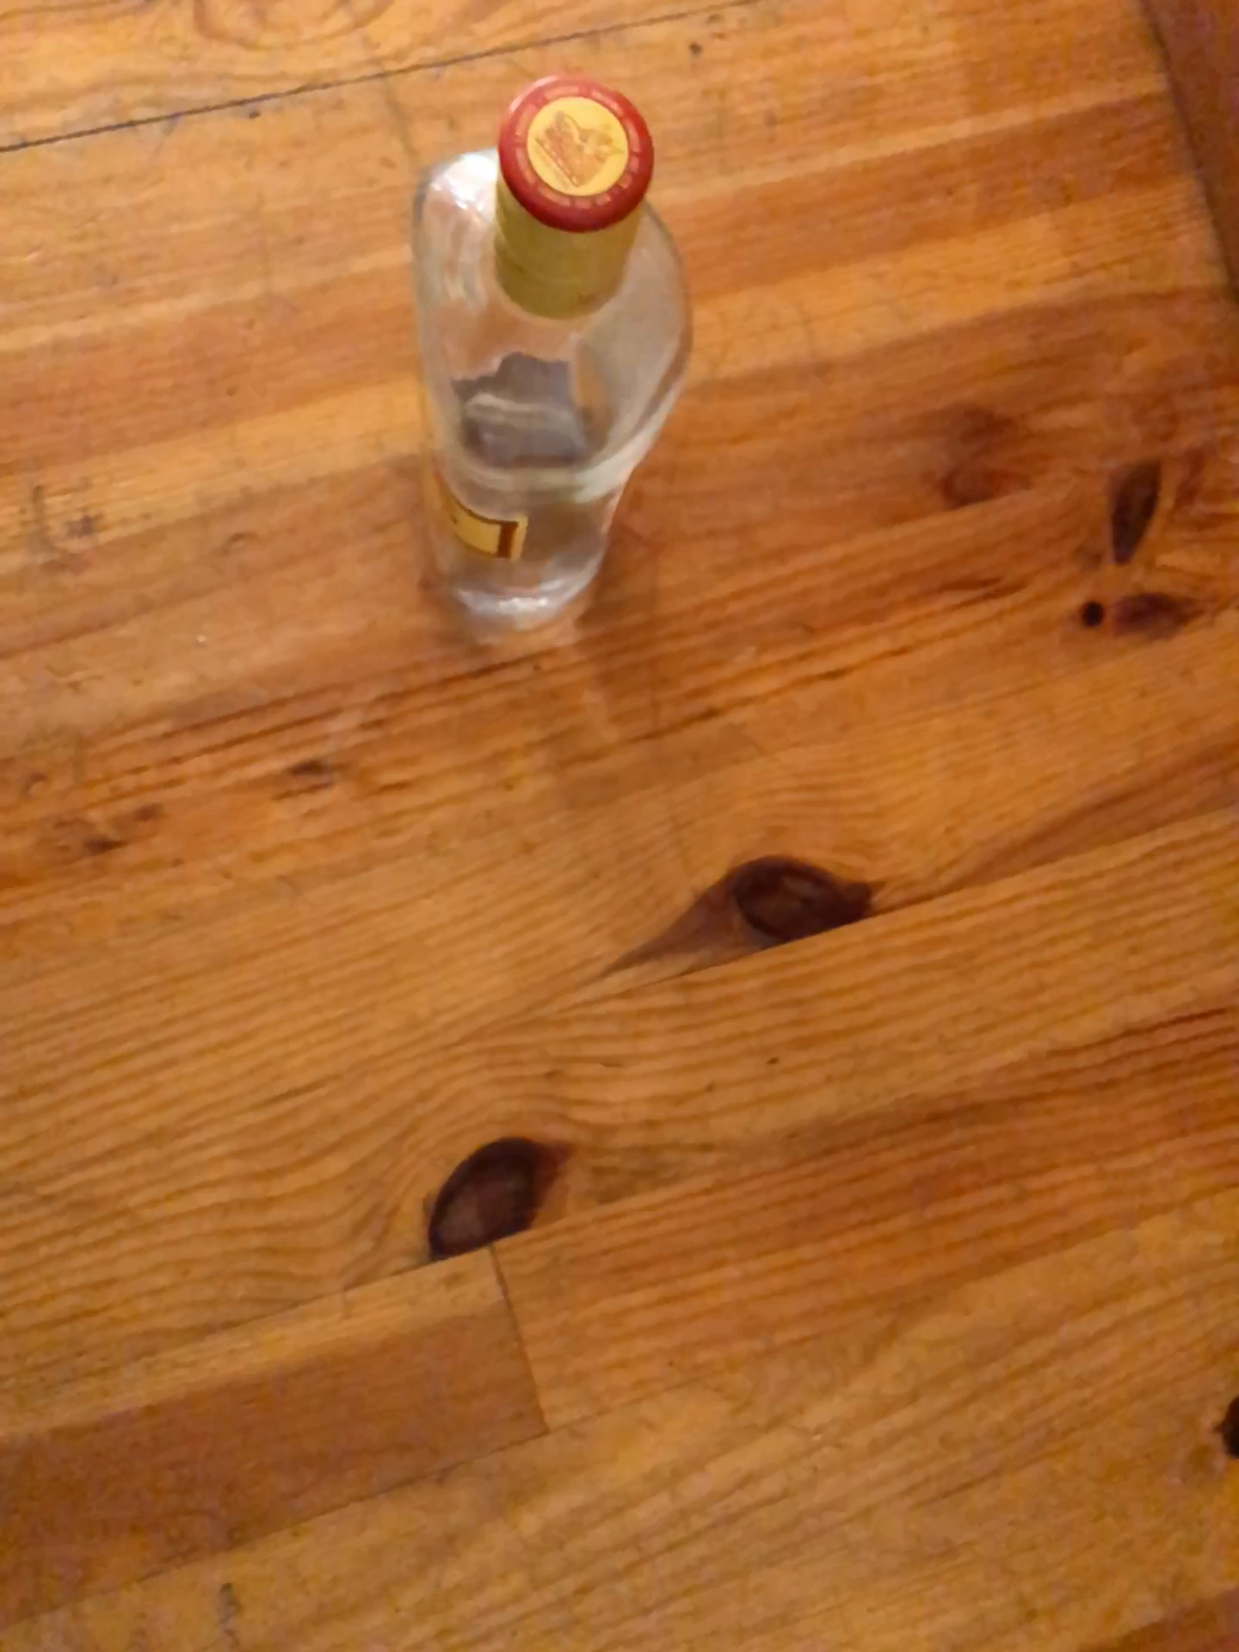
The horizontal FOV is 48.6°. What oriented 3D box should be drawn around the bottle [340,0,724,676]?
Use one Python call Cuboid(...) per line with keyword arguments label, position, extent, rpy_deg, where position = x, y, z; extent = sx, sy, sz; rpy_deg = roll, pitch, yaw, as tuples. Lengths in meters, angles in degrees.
Cuboid(label="bottle", position=(-0.031, -0.110, 0.375), extent=(0.060, 0.240, 0.090), rpy_deg=(-8, 87, -7))
